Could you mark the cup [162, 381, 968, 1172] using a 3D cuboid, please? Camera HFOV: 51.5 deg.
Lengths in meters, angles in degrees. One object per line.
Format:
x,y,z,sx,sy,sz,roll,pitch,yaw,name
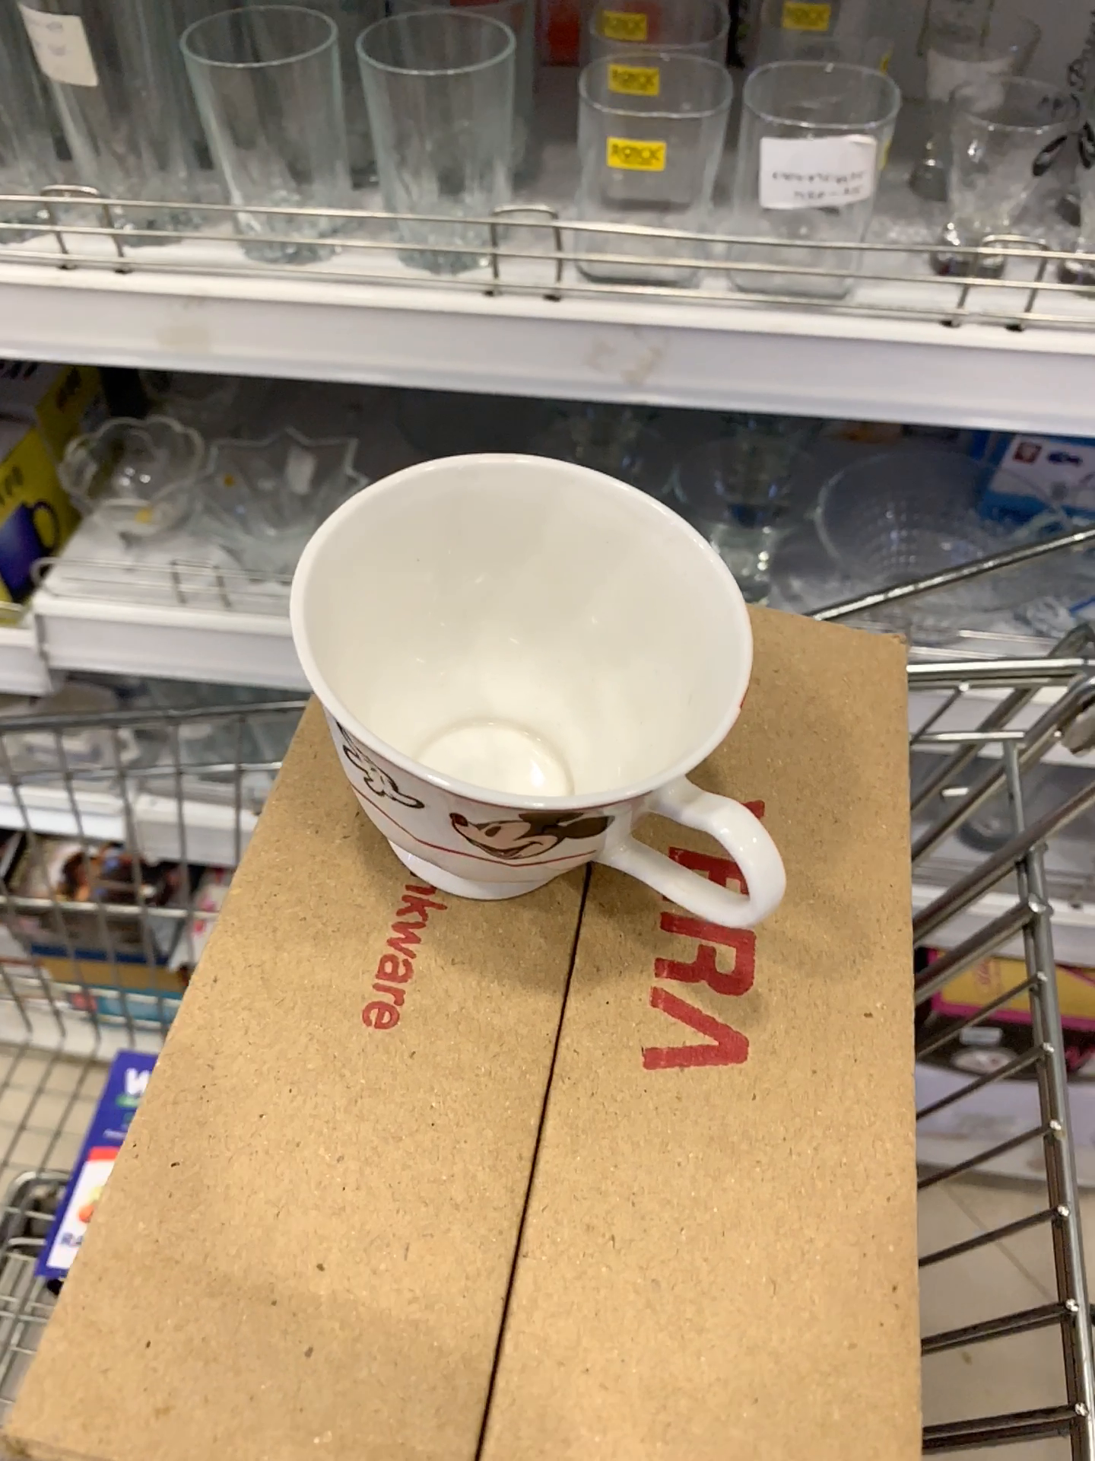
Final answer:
0.000,0.004,0.202,0.080,0.060,0.100,-34,63,-24,cup
